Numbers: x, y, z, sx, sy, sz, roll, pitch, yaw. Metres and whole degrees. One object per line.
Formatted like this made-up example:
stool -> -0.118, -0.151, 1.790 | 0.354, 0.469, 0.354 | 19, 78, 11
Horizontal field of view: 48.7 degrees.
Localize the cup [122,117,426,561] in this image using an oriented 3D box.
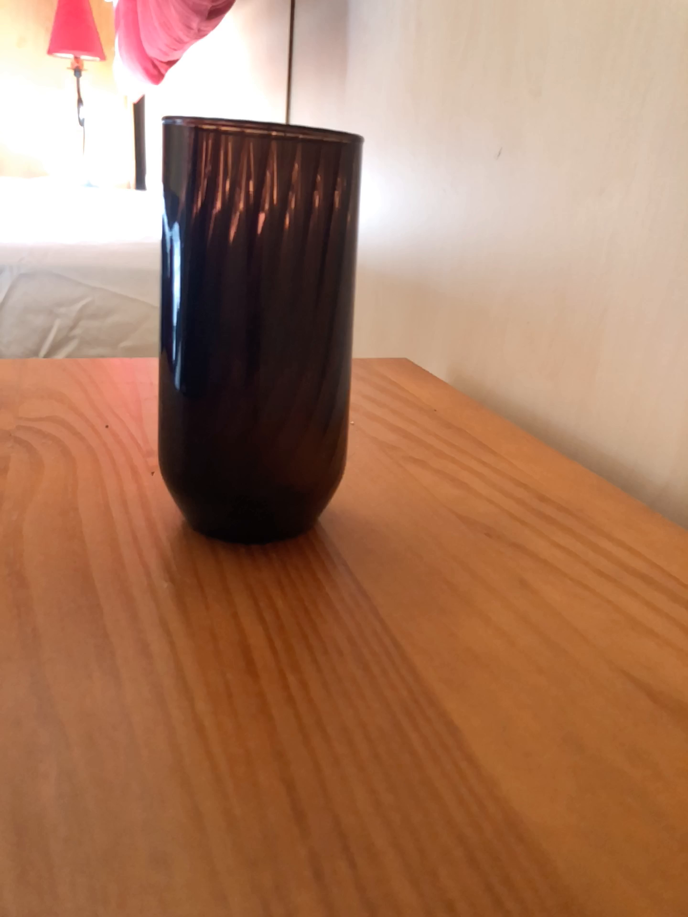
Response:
cup -> -0.025, -0.039, 0.230 | 0.061, 0.112, 0.060 | 4, 20, -2
